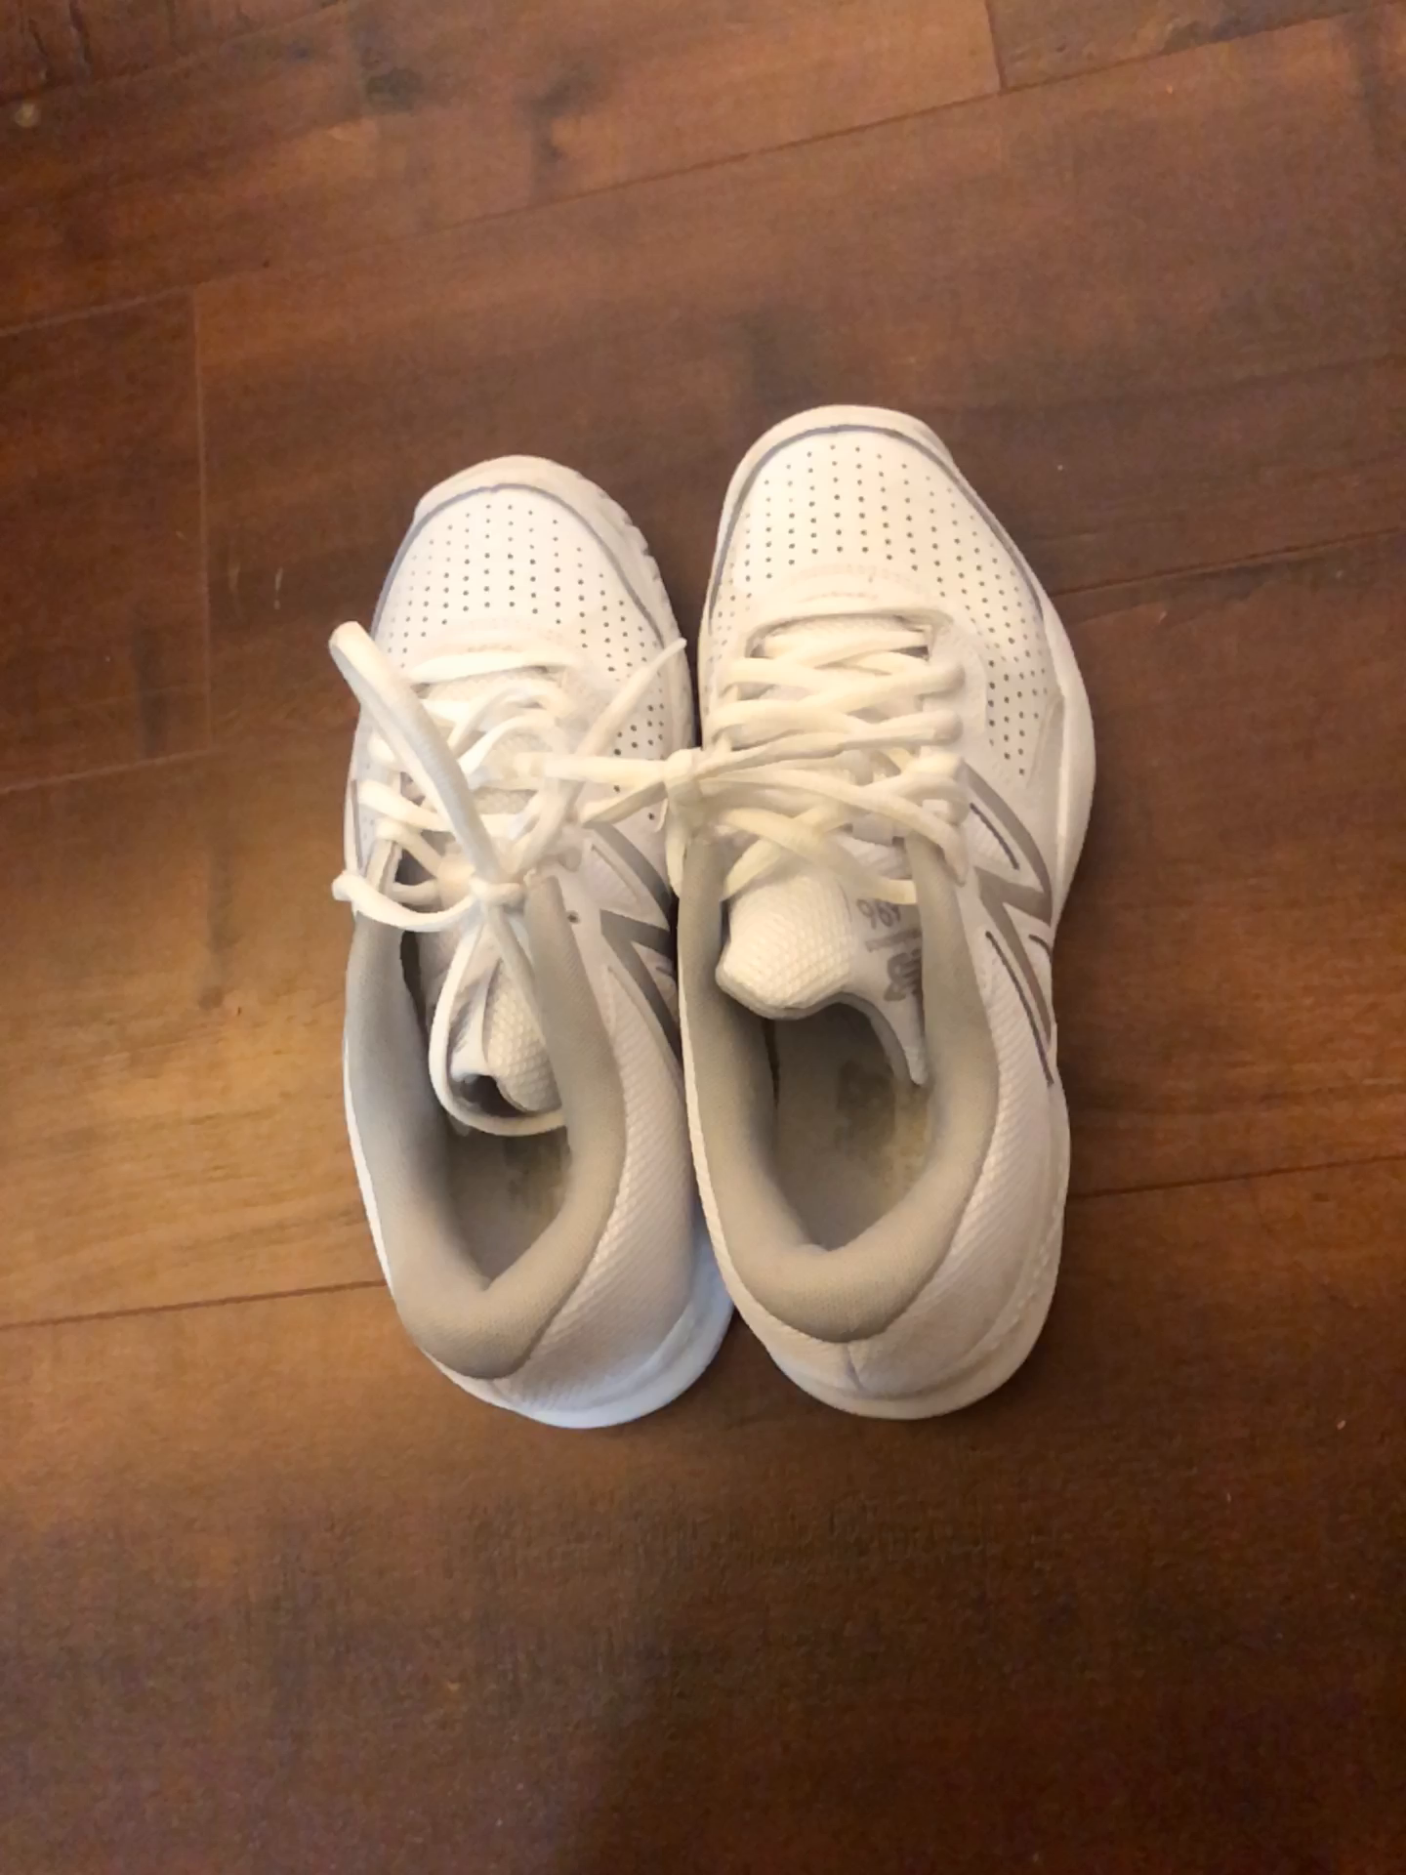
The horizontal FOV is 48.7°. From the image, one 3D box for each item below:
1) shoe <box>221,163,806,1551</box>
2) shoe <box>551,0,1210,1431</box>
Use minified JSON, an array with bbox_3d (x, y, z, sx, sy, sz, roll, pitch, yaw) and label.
[{"bbox_3d":[-0.047,-0.017,0.409,0.100,0.130,0.310,-8,76,10],"label":"shoe"},{"bbox_3d":[0.048,-0.041,0.409,0.120,0.170,0.310,-5,77,13],"label":"shoe"}]
